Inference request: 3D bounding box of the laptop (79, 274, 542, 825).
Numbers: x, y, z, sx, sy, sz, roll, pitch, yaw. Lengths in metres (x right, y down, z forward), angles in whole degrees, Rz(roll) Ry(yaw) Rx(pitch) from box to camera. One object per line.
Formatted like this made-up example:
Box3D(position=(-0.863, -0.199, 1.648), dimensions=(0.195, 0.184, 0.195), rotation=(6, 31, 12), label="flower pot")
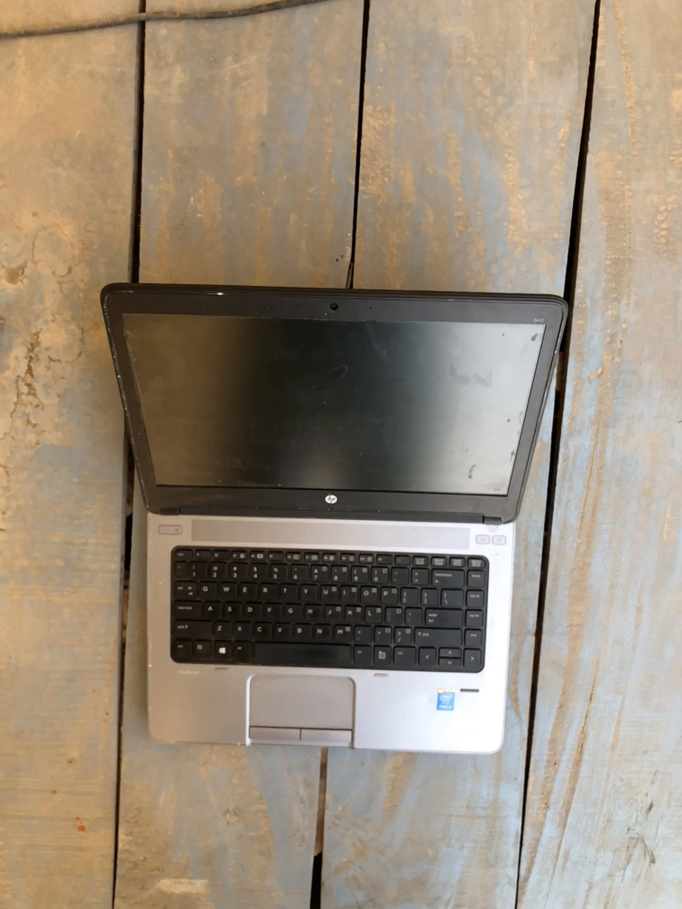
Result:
Box3D(position=(-0.022, 0.071, 0.590), dimensions=(0.306, 0.123, 0.388), rotation=(1, 99, 2), label="laptop")
